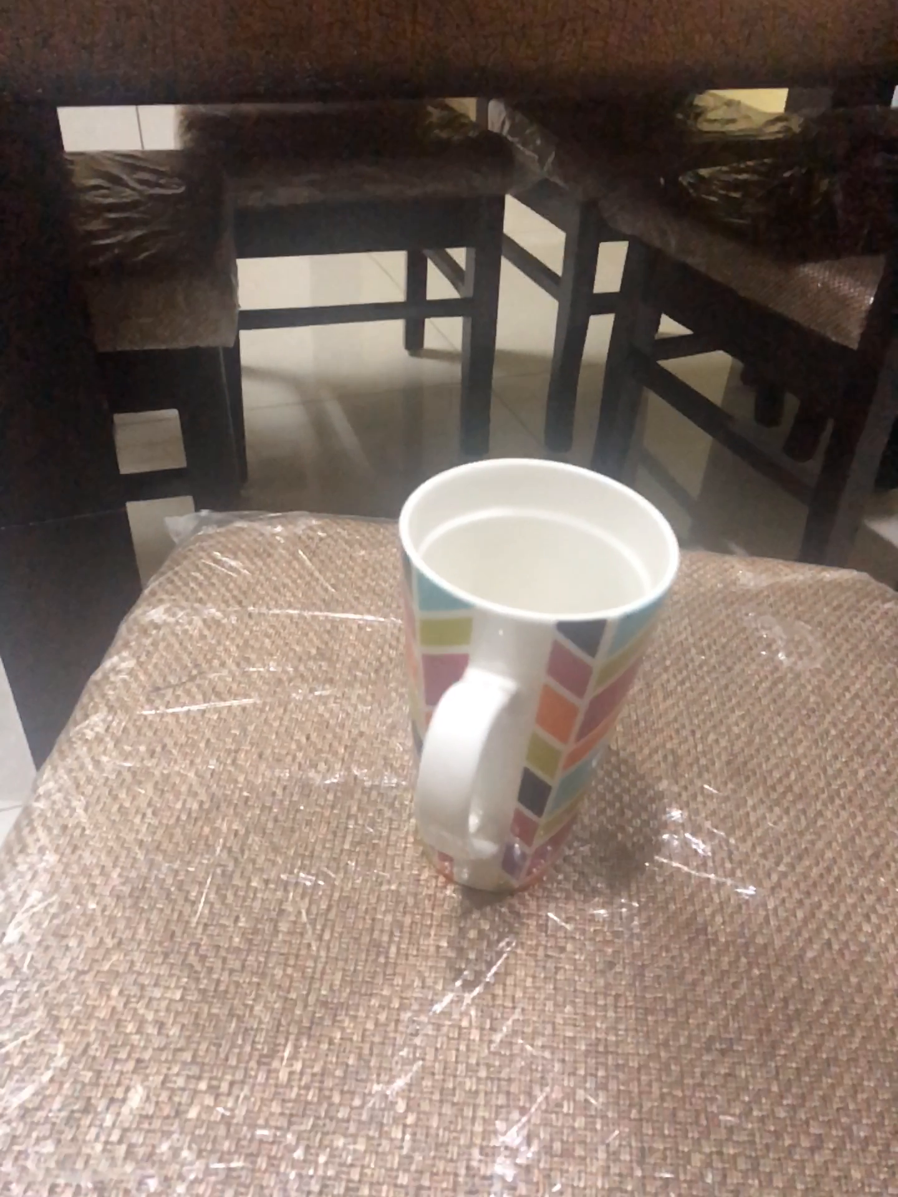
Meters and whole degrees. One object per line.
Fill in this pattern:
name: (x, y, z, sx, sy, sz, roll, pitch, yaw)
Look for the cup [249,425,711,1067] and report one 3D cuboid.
cup: (0.011, 0.043, 0.329, 0.090, 0.139, 0.130, 20, 40, 16)
